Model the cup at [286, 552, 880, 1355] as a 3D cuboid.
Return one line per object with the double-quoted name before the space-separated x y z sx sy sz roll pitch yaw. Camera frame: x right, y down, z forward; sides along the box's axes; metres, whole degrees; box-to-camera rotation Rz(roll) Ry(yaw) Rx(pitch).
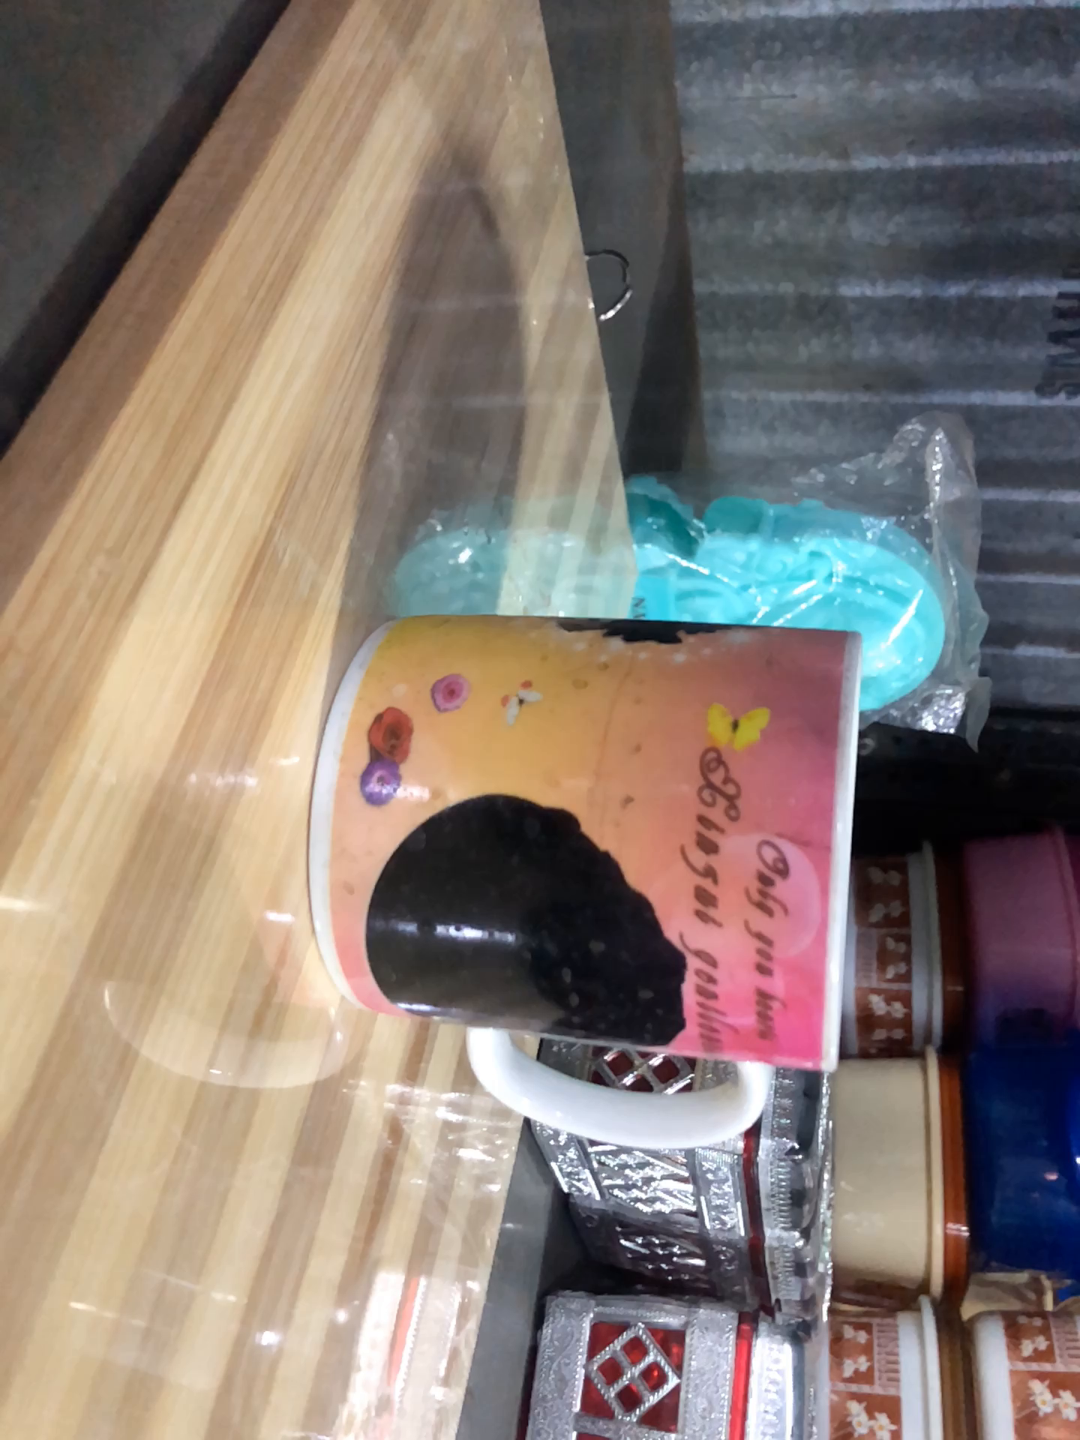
"cup" 0.017 0.037 0.241 0.090 0.090 0.120 -57 148 -64
